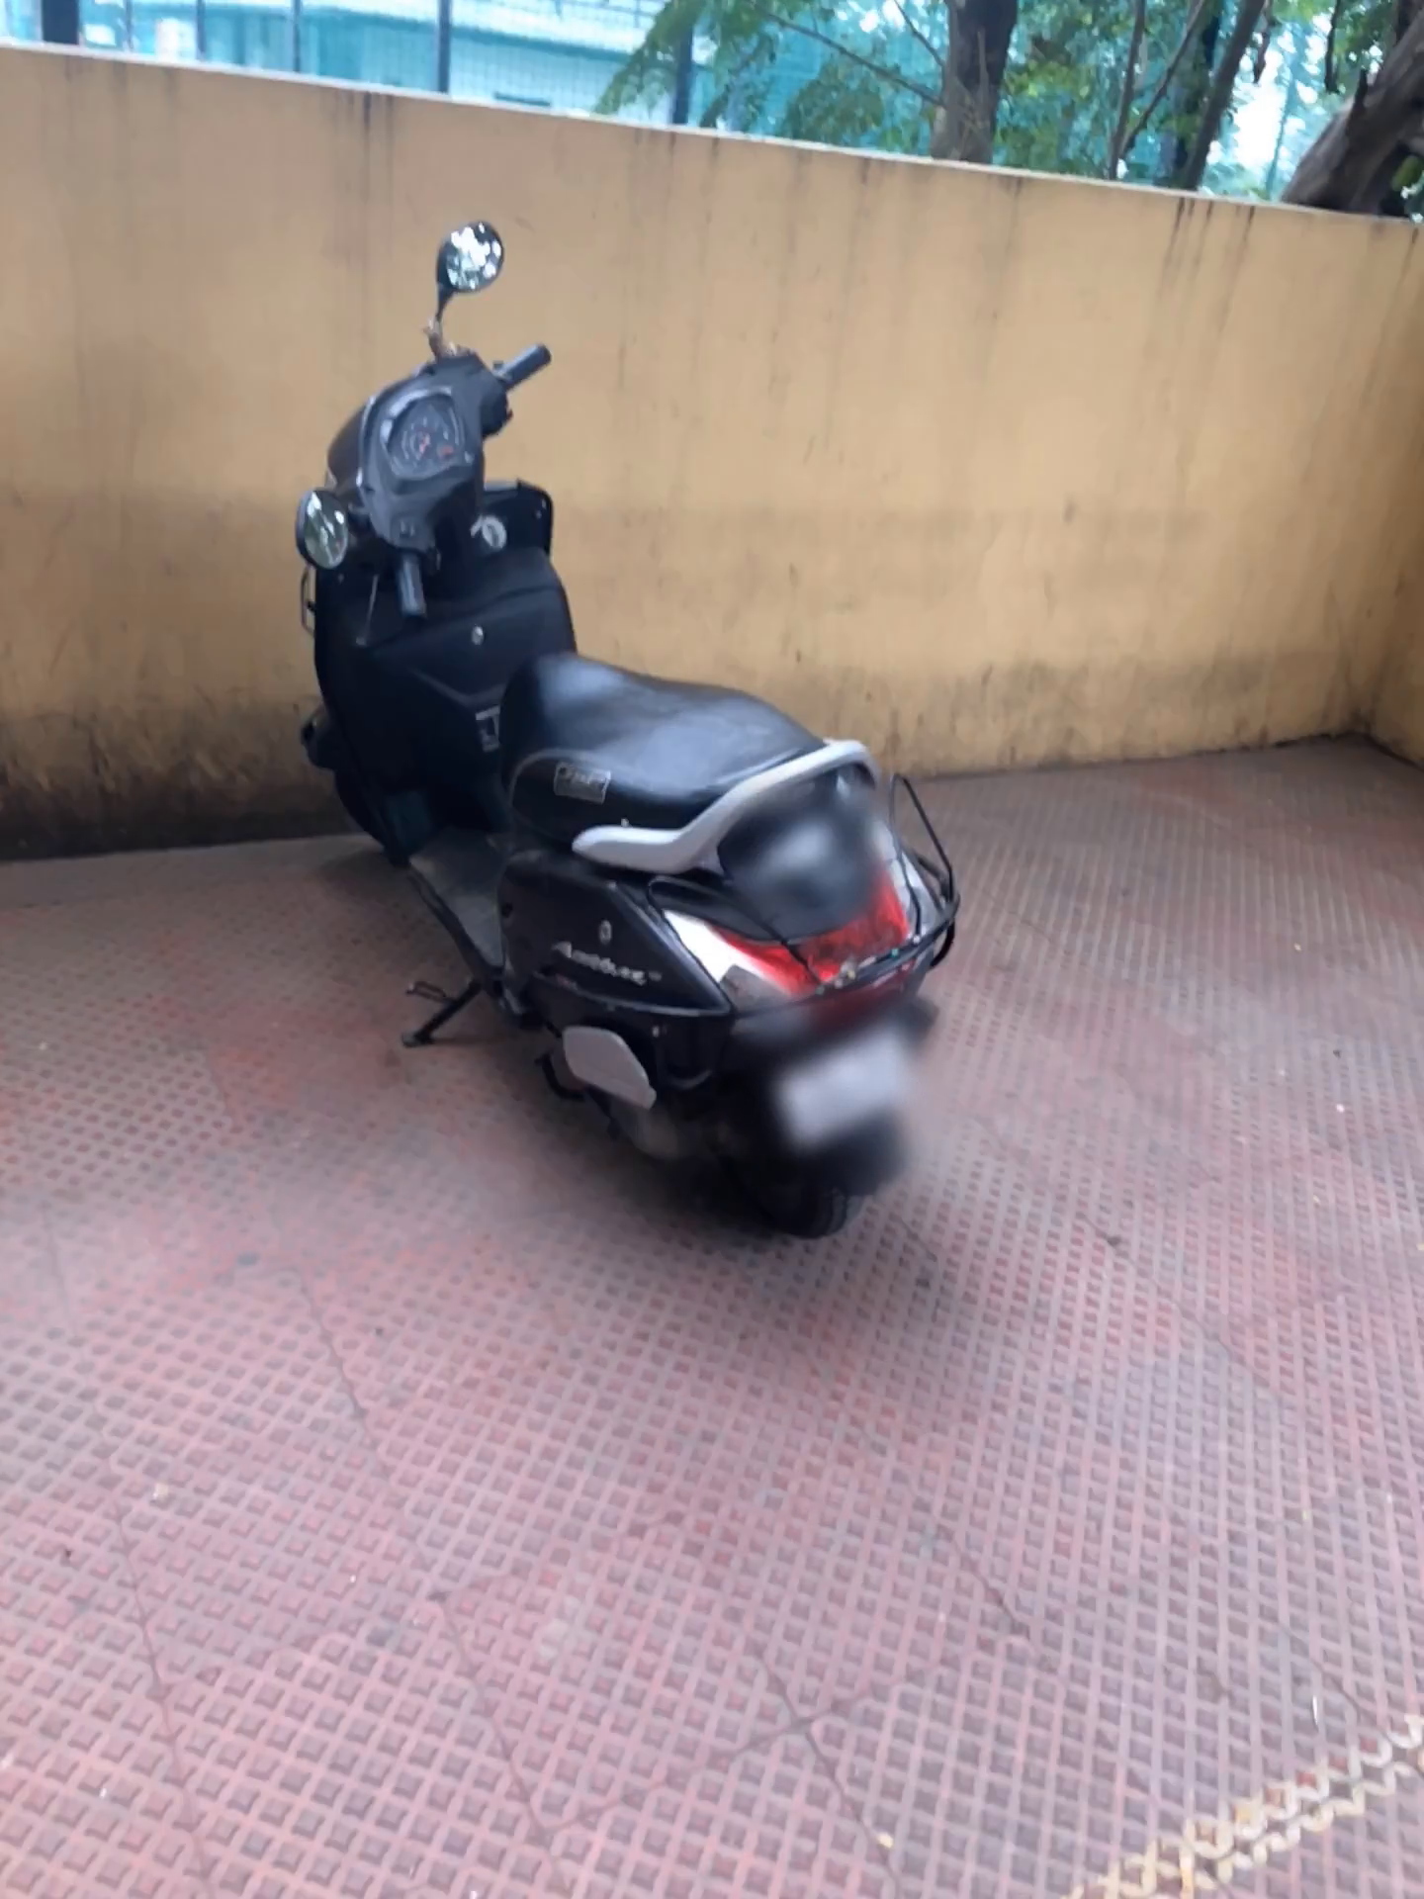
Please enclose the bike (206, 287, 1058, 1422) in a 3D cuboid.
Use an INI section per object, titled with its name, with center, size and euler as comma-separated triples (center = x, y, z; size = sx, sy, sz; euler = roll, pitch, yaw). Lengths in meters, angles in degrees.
[bike]
center = -0.282, -0.293, 2.467
size = 0.579, 1.139, 1.487
euler = -10, 33, -32
